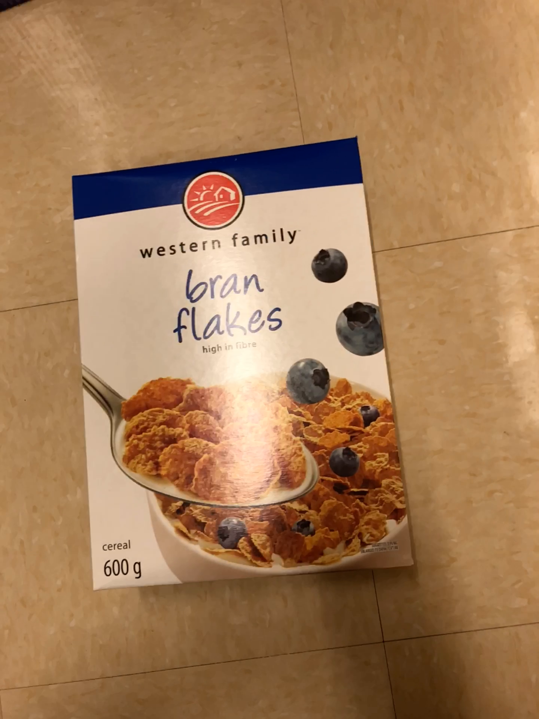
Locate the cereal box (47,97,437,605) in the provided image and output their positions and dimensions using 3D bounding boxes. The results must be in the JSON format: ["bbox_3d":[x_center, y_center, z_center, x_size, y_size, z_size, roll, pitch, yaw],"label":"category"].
[{"bbox_3d":[-0.023,-0.005,0.419,0.220,0.090,0.300,-7,82,4],"label":"cereal box"}]
